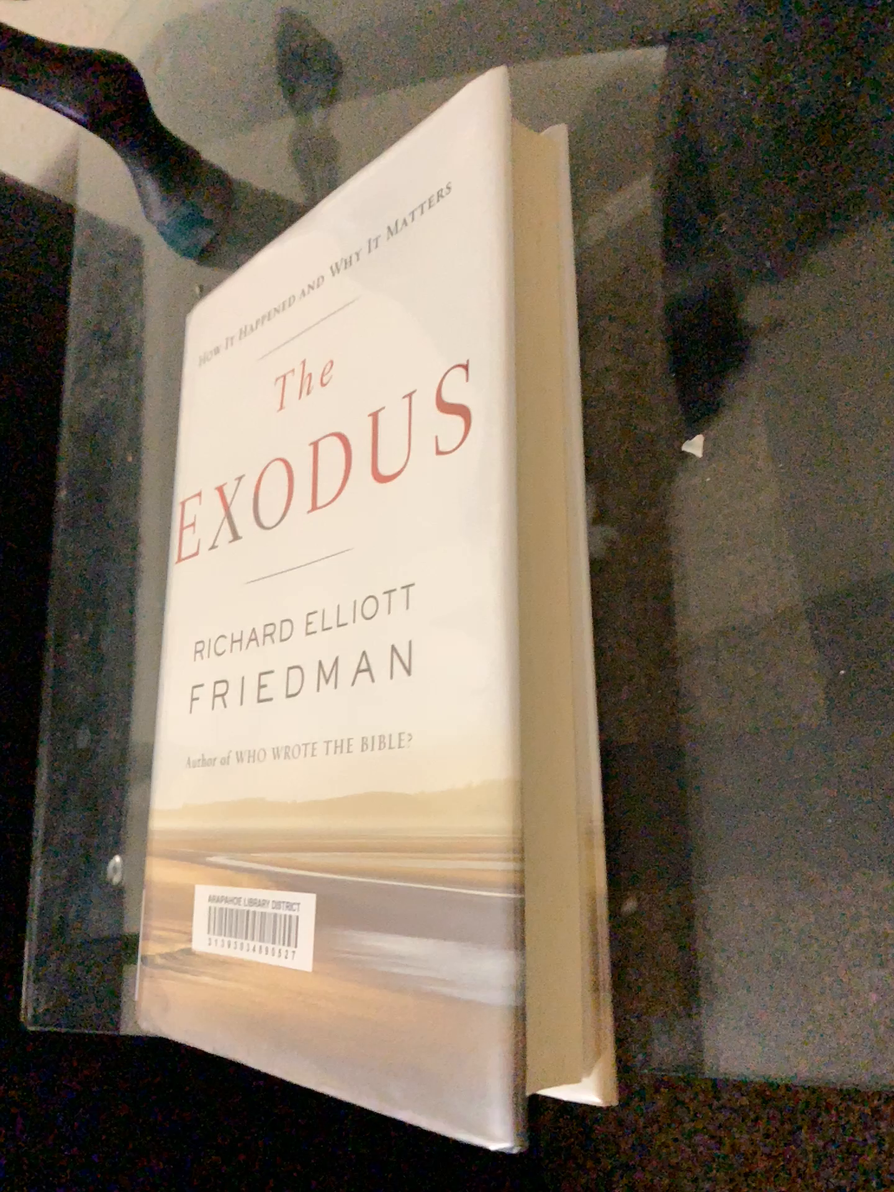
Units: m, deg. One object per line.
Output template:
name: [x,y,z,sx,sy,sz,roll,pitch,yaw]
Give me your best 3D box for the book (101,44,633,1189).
book: [-0.033,0.003,0.249,0.161,0.030,0.231,-13,72,43]
